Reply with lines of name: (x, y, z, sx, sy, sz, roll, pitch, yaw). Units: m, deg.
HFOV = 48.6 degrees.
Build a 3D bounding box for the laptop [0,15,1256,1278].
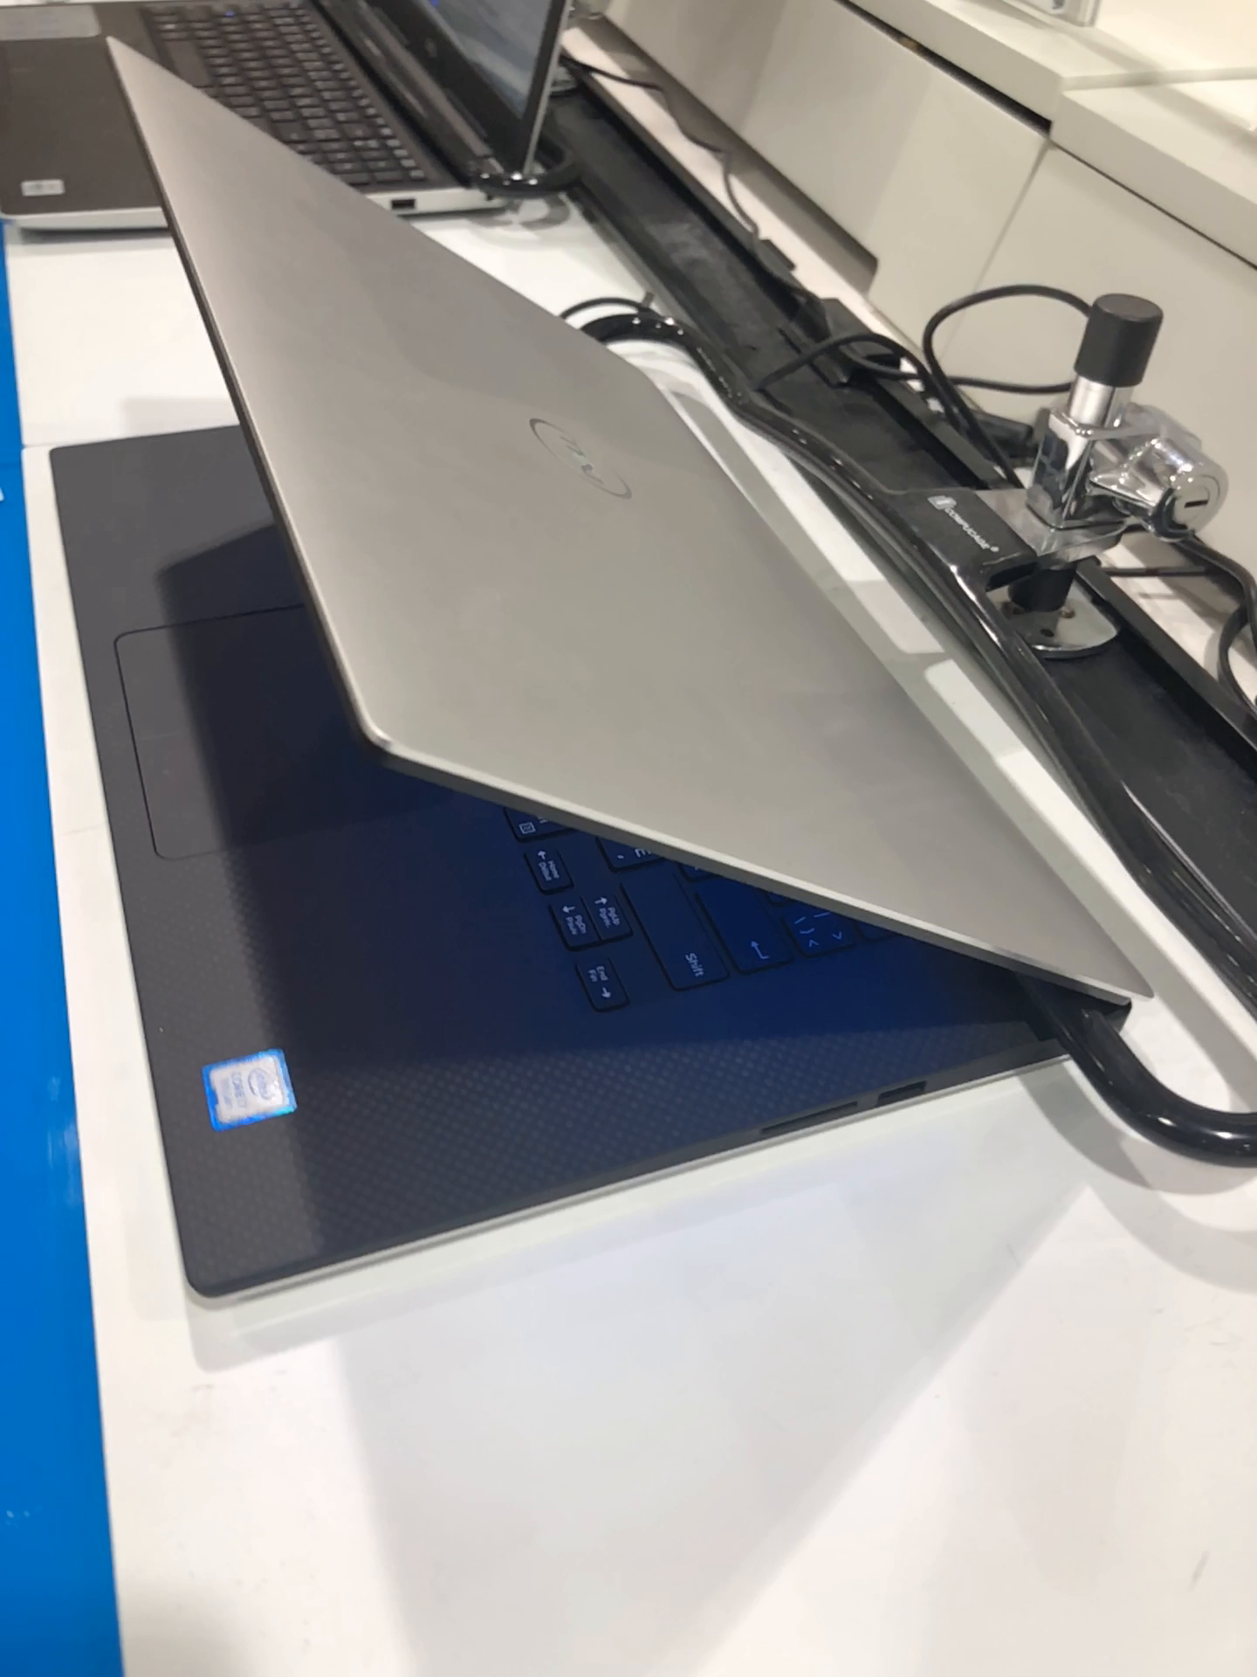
laptop: (-0.042, -0.097, 0.379, 0.216, 0.133, 0.347, -13, 46, -17)
